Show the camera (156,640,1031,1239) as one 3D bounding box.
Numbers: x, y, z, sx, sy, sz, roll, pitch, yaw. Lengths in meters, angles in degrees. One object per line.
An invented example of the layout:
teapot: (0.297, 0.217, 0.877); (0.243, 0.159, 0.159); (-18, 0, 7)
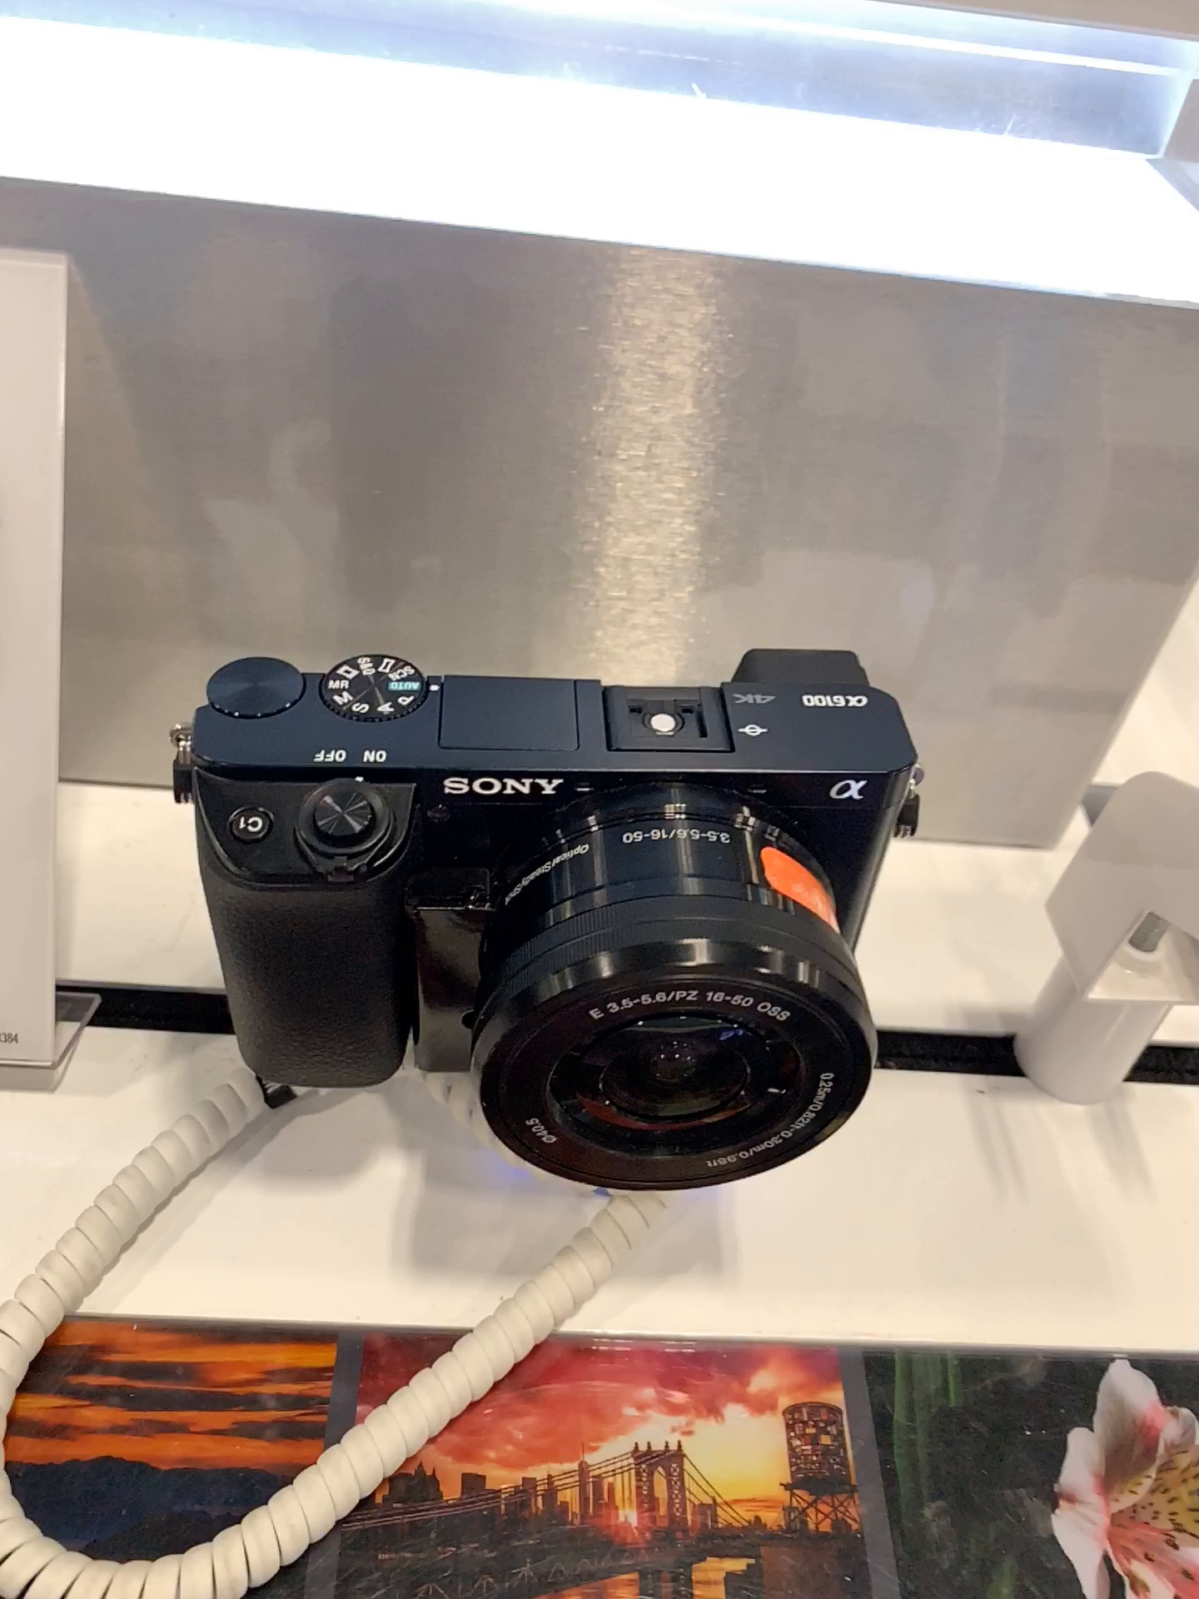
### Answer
camera: (-0.006, 0.022, 0.218); (0.121, 0.070, 0.070); (-2, 46, -10)
